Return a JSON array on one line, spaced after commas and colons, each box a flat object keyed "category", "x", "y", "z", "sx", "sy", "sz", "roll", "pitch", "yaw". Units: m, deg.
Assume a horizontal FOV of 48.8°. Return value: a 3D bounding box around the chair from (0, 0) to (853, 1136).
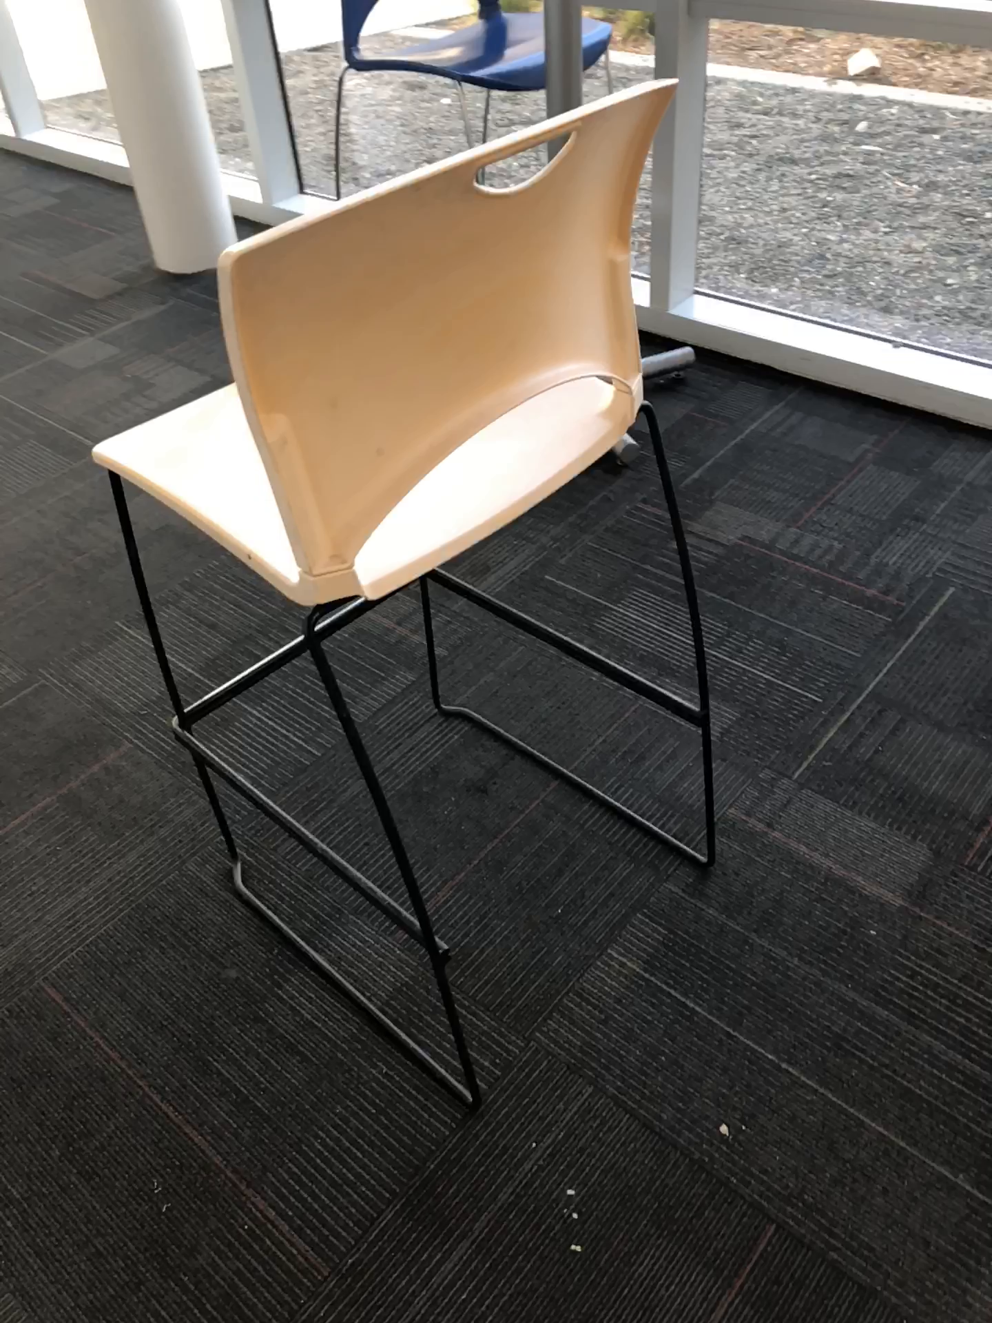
[{"category": "chair", "x": -0.125, "y": -0.127, "z": 1.288, "sx": 0.723, "sy": 0.995, "sz": 0.581, "roll": 30, "pitch": 52, "yaw": 34}]
